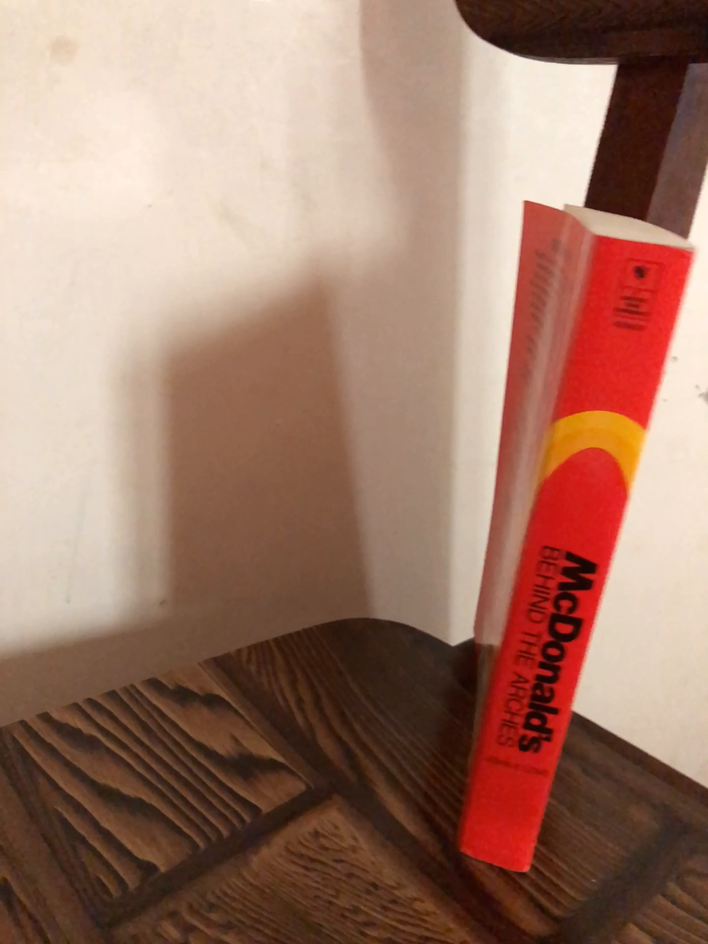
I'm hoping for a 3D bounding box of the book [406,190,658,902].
[{"bbox_3d":[0.074,0.011,0.340,0.040,0.239,0.191,10,19,12],"label":"book"}]
